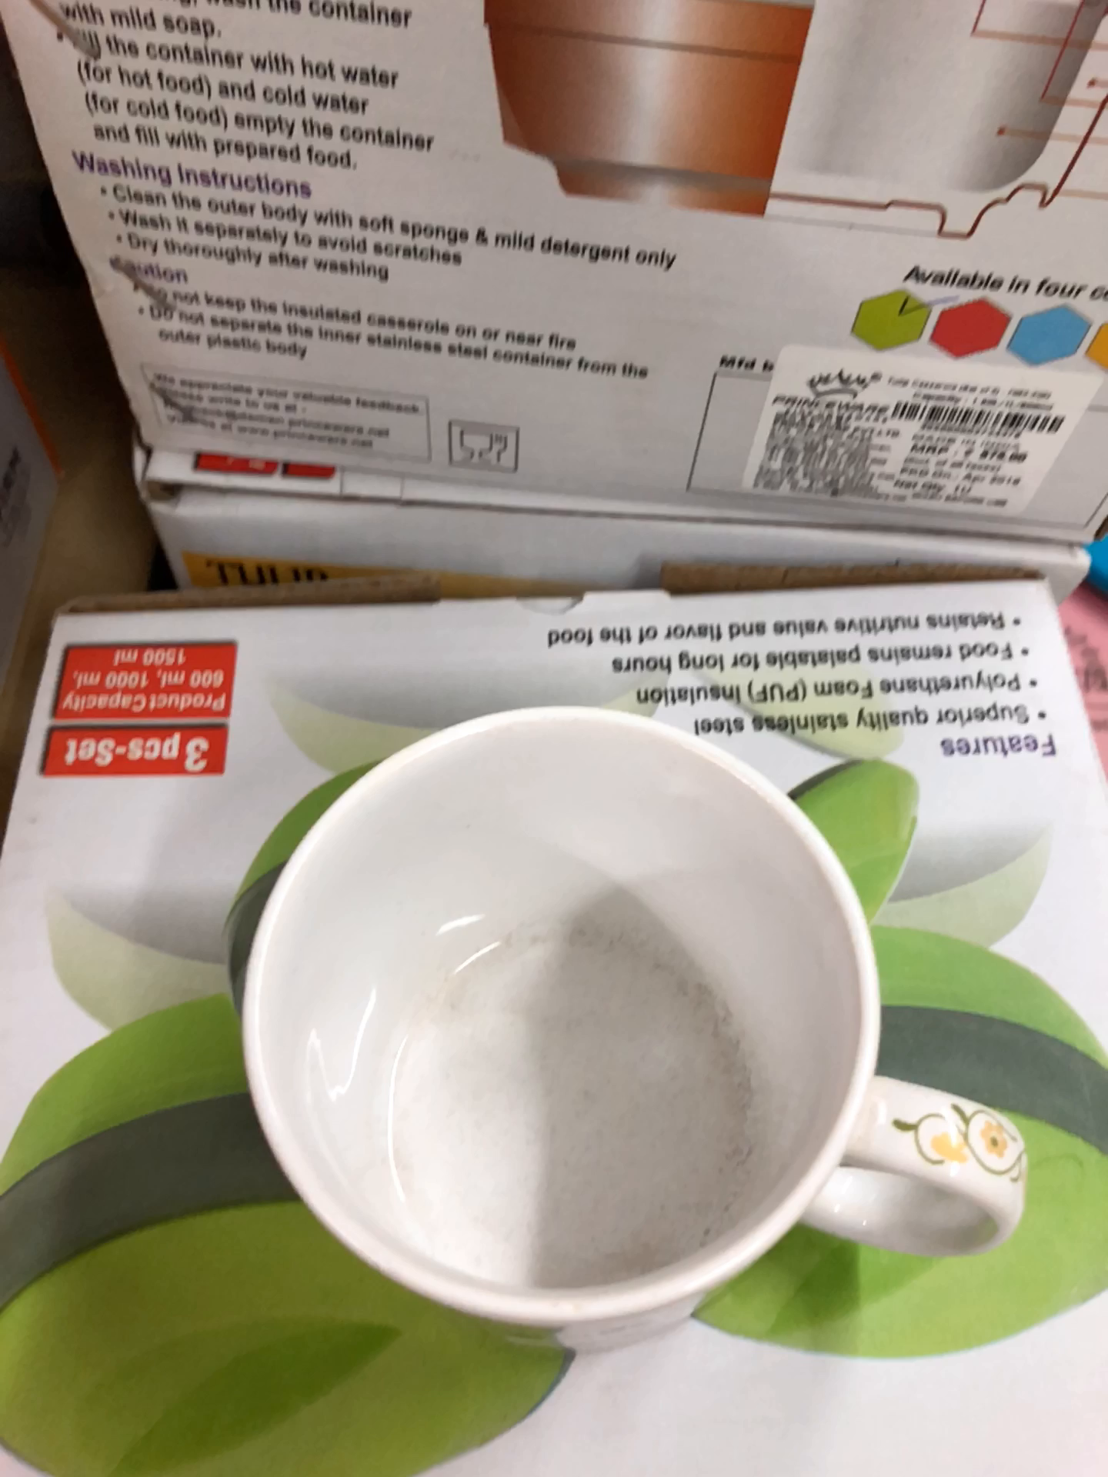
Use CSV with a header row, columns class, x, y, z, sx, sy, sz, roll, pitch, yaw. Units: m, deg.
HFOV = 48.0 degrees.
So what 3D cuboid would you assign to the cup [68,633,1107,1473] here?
class,x,y,z,sx,sy,sz,roll,pitch,yaw
cup,0.011,0.047,0.175,0.110,0.080,0.070,12,59,8
